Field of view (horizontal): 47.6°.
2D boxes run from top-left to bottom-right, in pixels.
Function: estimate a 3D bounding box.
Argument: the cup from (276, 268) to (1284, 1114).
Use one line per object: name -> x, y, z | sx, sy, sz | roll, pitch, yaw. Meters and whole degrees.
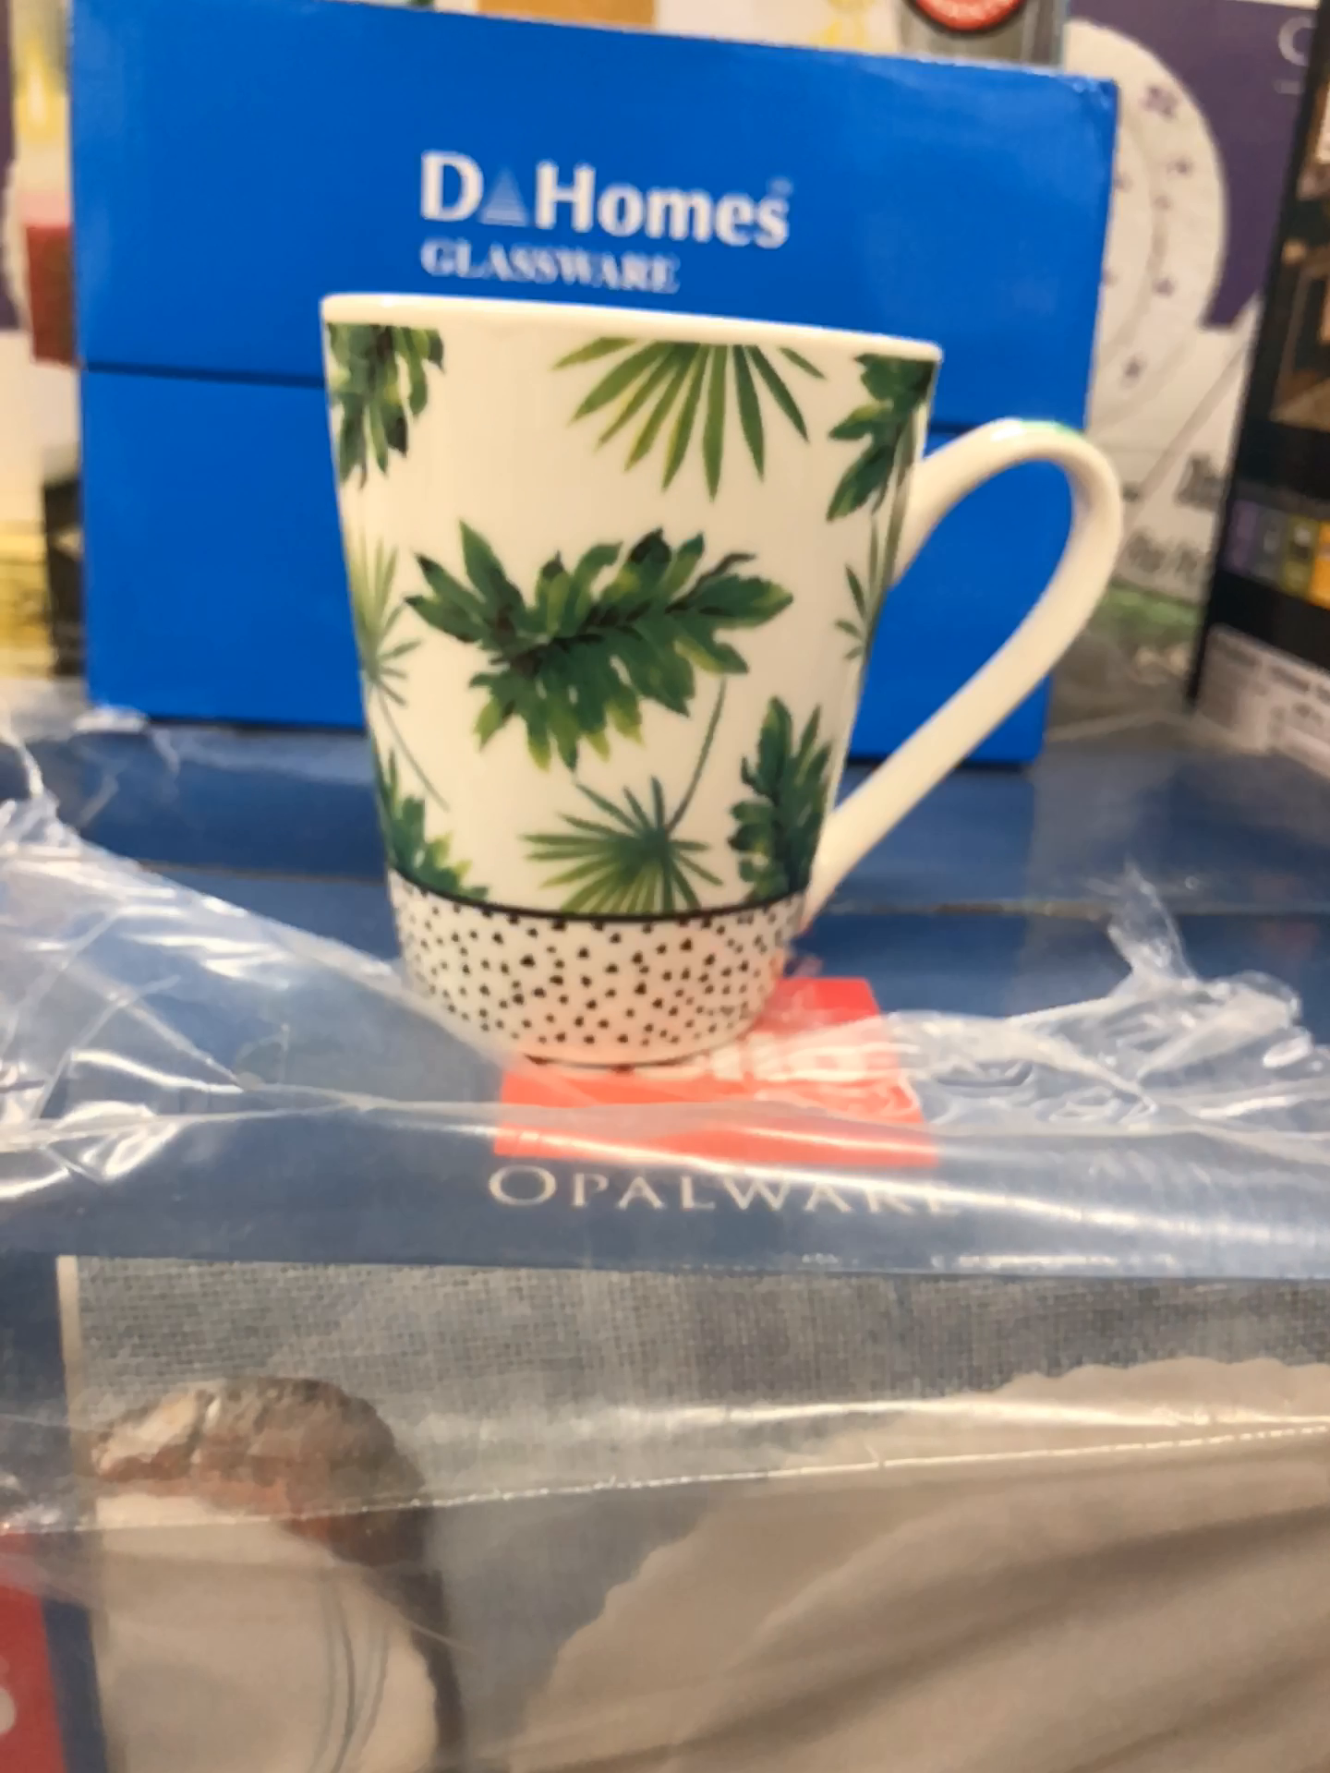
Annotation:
cup -> 0.006, -0.035, 0.226 | 0.120, 0.099, 0.080 | -2, 22, -15
